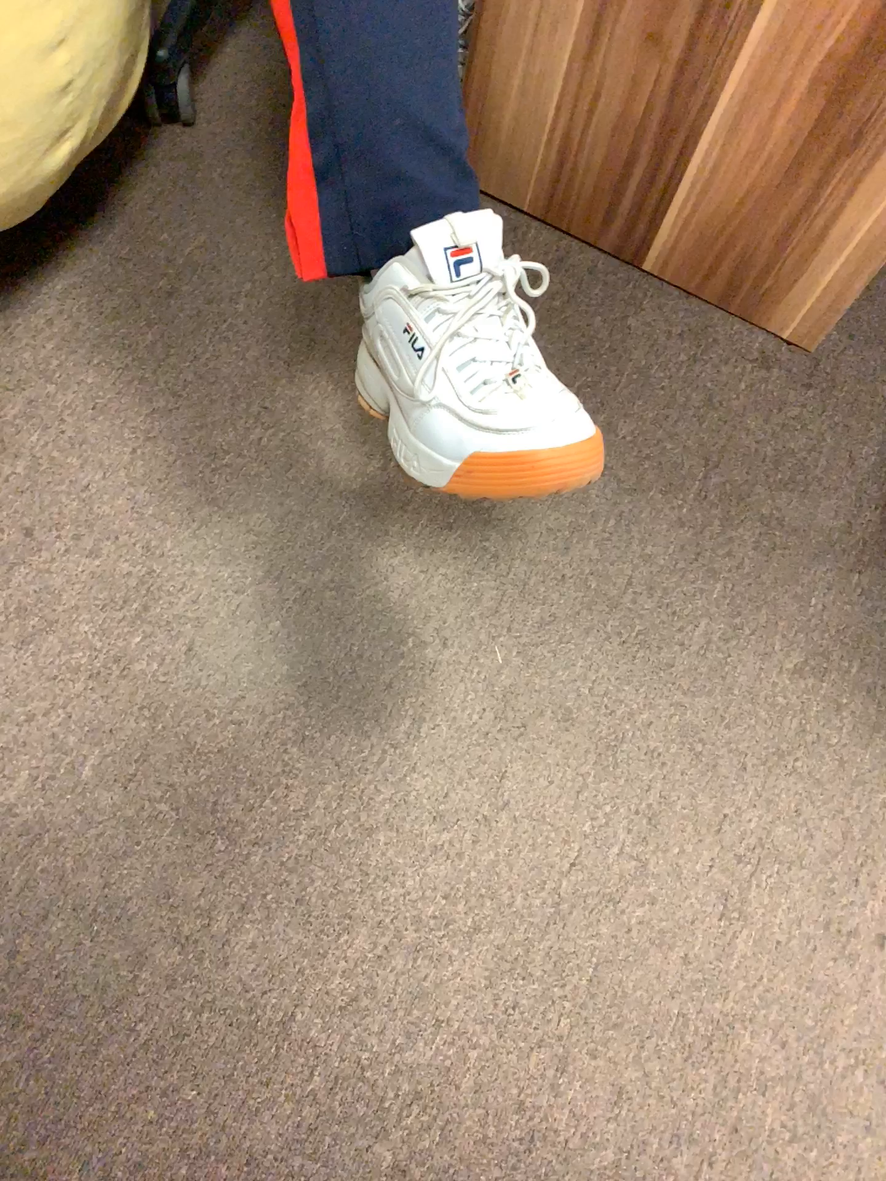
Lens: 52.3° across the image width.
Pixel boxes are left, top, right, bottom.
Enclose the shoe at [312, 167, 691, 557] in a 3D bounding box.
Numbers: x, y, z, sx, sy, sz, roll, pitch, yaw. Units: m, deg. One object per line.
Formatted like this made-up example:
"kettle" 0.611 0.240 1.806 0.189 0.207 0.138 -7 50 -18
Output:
"shoe" 0.018 -0.156 0.573 0.130 0.130 0.230 -15 47 -22
